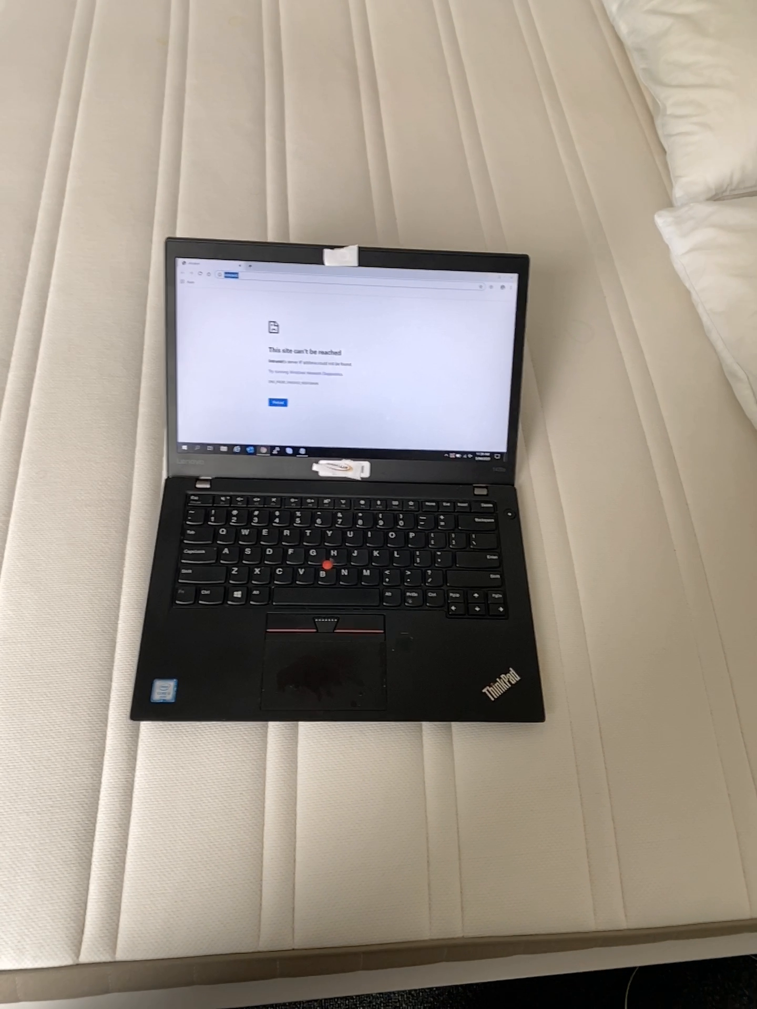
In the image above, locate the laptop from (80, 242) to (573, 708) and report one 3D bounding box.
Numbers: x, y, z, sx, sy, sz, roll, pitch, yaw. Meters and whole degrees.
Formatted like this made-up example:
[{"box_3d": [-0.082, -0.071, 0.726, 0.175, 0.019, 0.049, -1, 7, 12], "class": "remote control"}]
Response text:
[{"box_3d": [-0.038, -0.034, 0.653, 0.320, 0.120, 0.382, 2, 59, -6], "class": "laptop"}]
